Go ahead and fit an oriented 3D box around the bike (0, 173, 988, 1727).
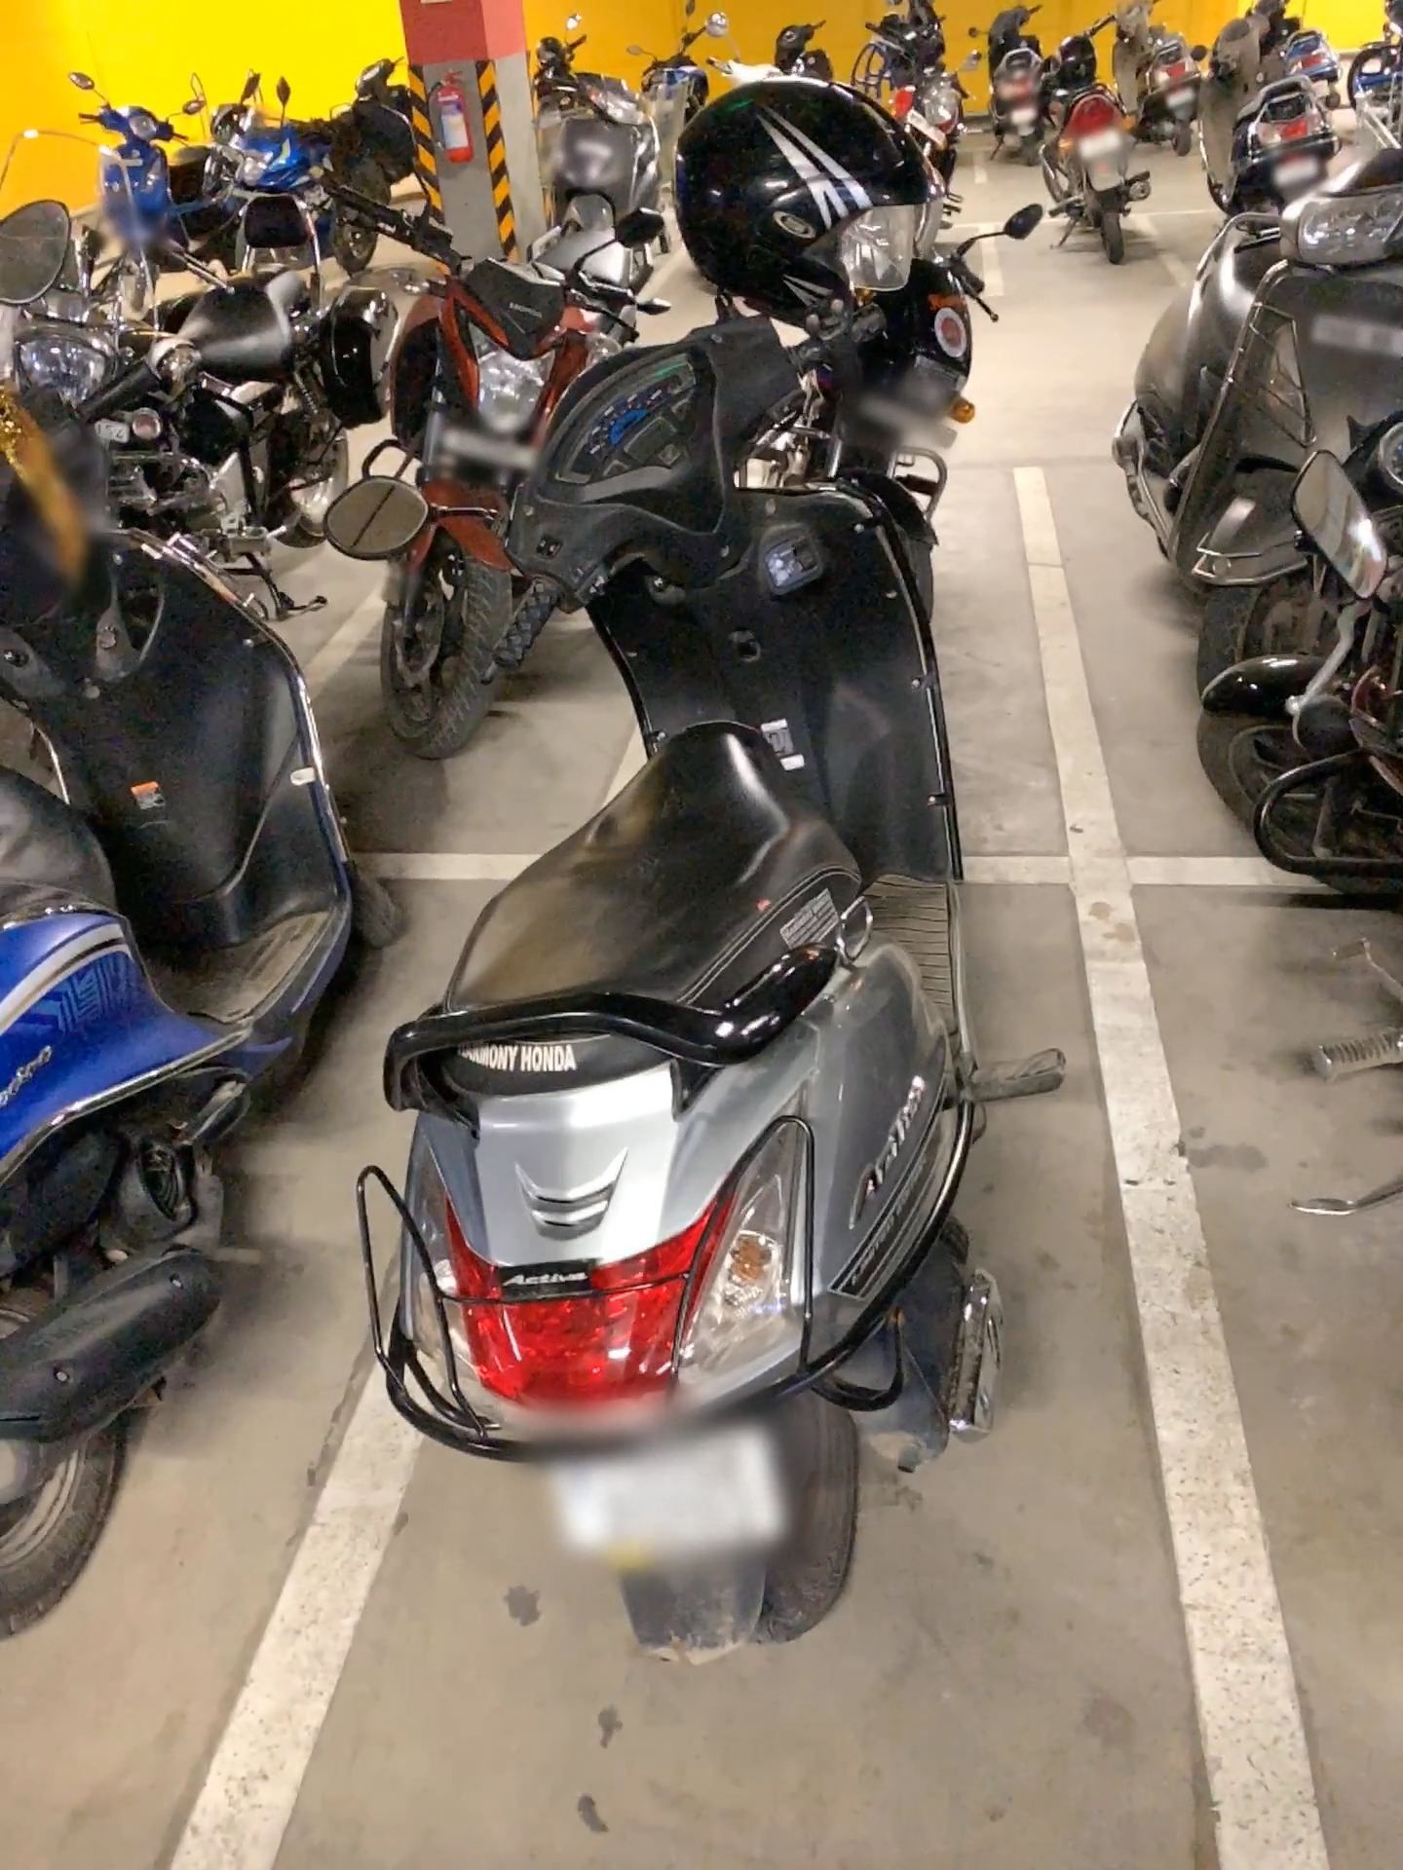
[{"bbox_3d":[-0.050,-0.145,1.752,0.630,1.089,1.541,-1,36,6],"label":"bike"}]
